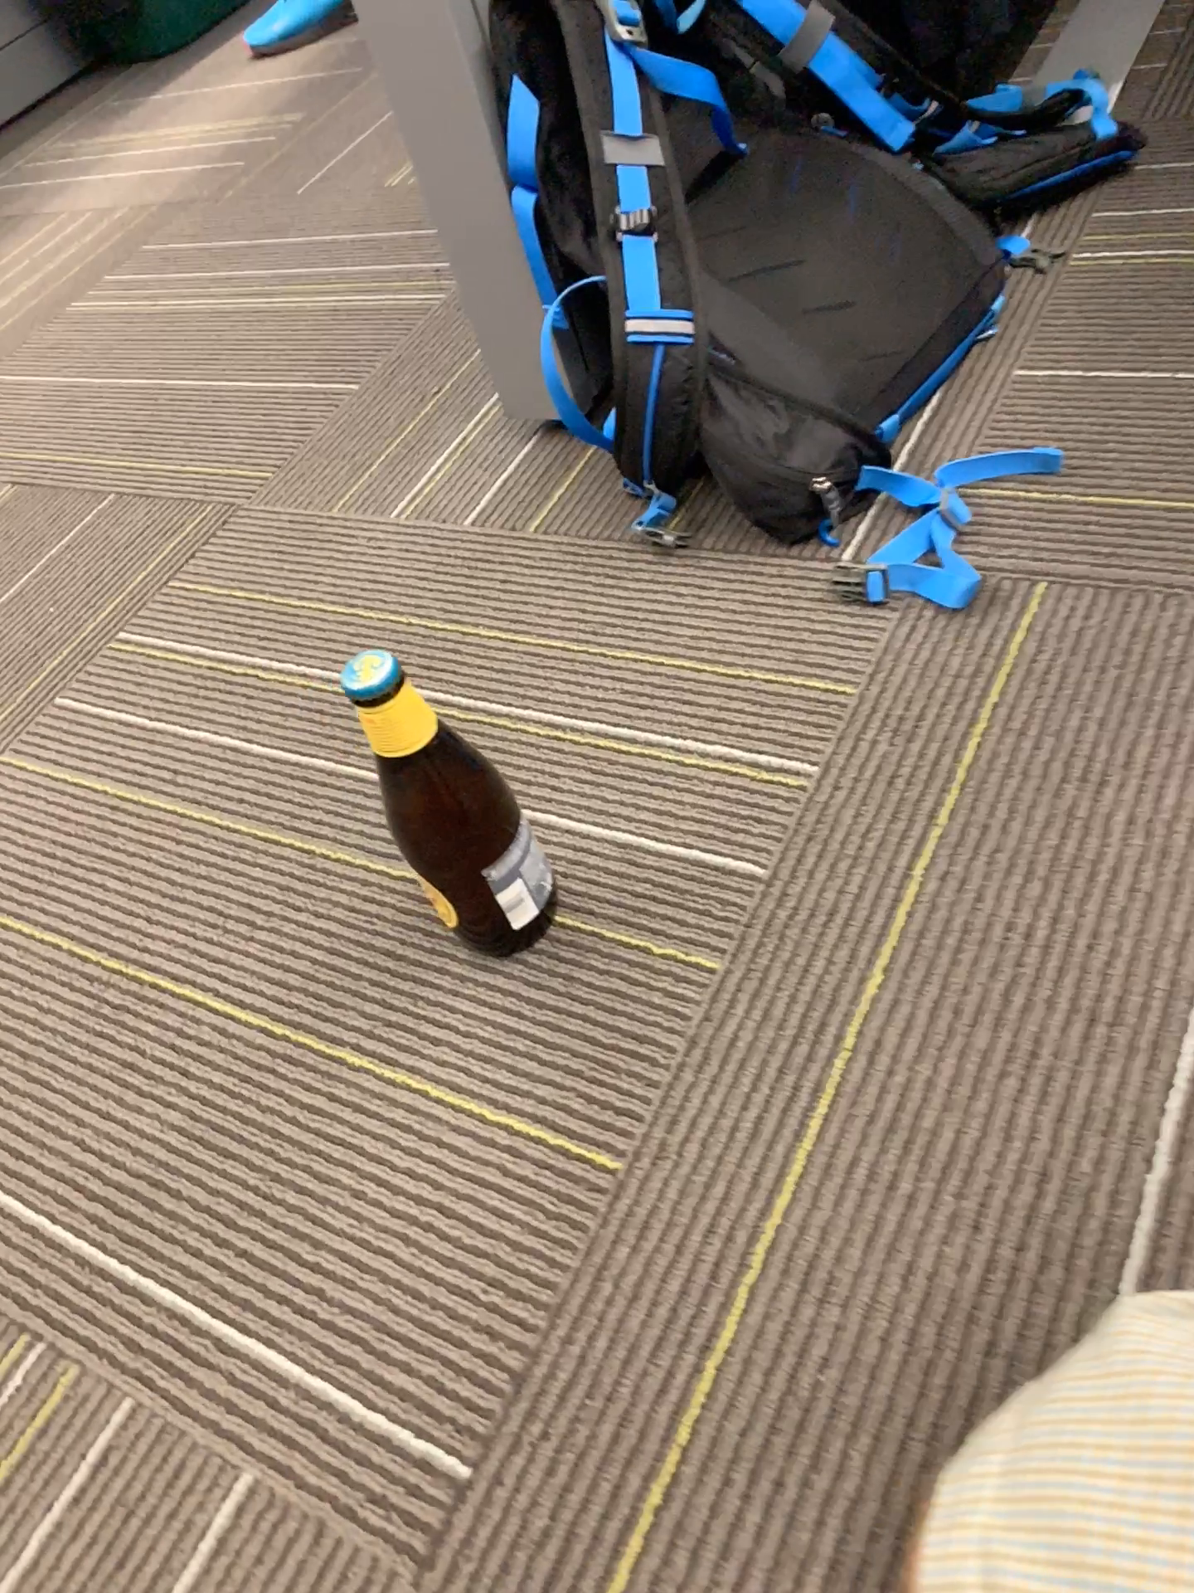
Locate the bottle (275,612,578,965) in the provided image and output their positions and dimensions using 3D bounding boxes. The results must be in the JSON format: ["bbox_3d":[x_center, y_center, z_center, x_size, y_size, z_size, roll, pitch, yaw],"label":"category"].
[{"bbox_3d":[-0.075,0.004,0.605,0.070,0.179,0.070,-11,46,12],"label":"bottle"}]
